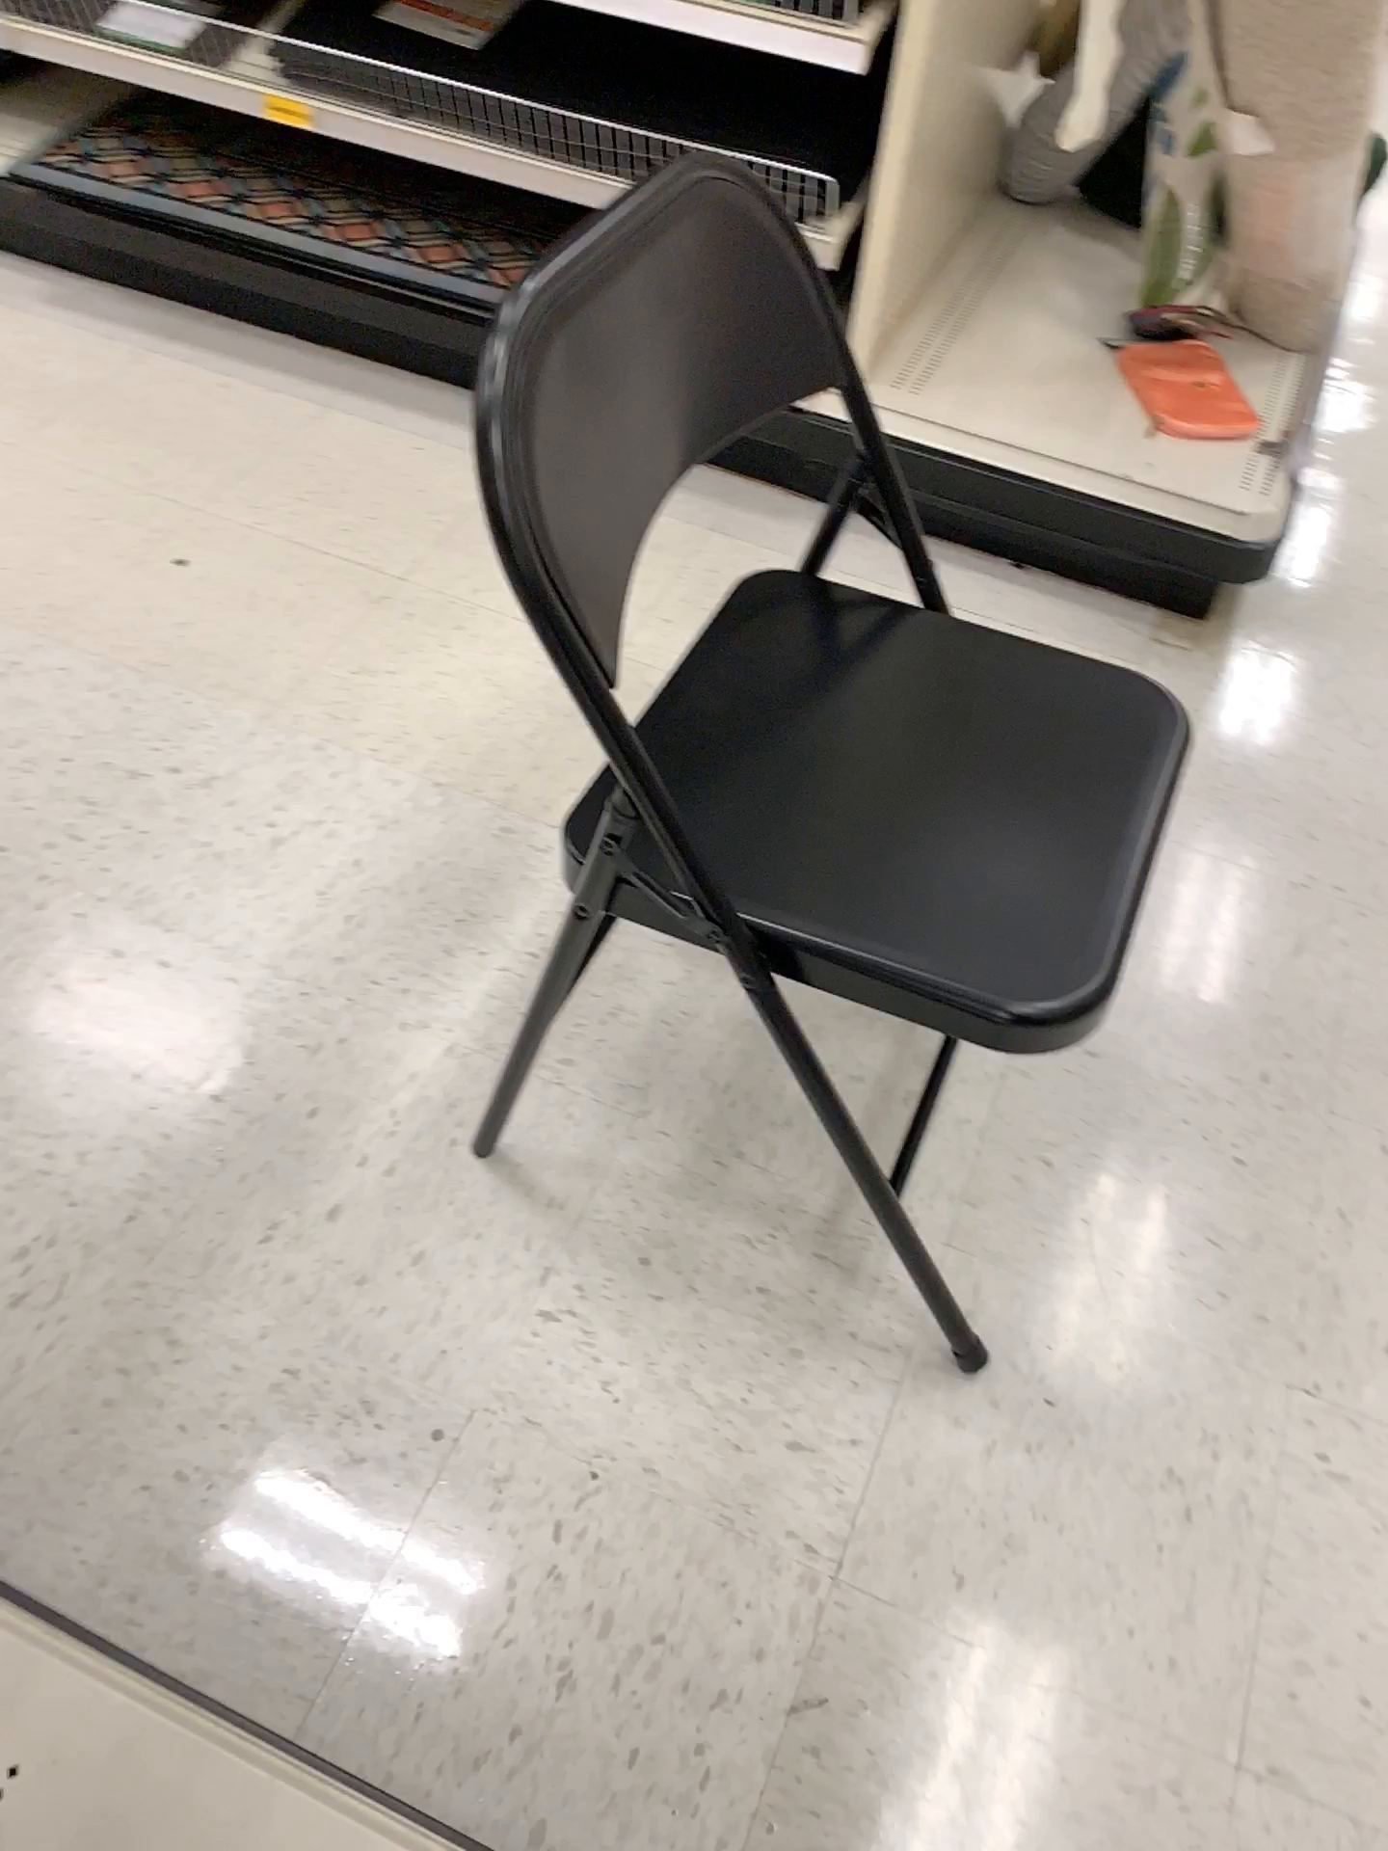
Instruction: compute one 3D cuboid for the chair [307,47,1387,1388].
[{"bbox_3d":[0.130,-0.129,1.054,0.550,0.717,0.492,20,50,11],"label":"chair"}]
